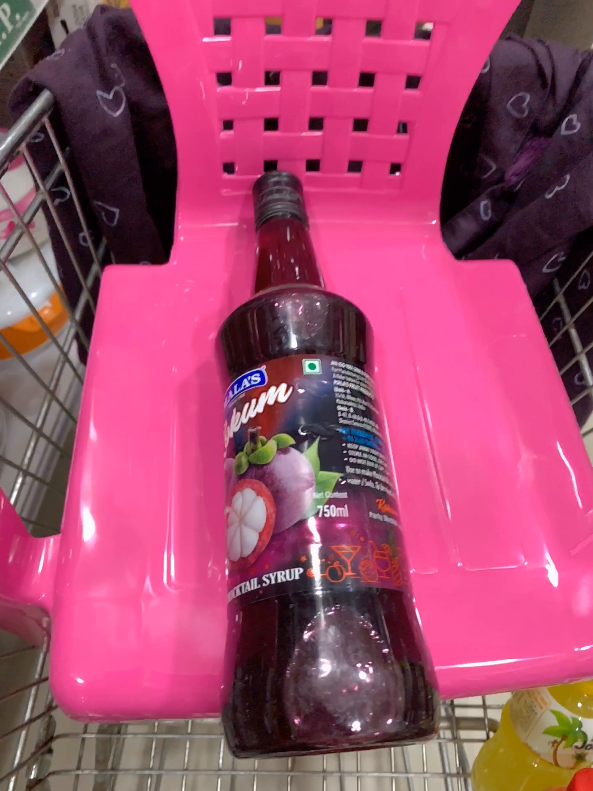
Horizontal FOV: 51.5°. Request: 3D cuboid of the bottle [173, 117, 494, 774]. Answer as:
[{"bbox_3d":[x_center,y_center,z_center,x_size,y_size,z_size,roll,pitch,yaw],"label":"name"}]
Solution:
[{"bbox_3d":[0.002,0.011,0.273,0.080,0.080,0.260,13,58,-29],"label":"bottle"}]
